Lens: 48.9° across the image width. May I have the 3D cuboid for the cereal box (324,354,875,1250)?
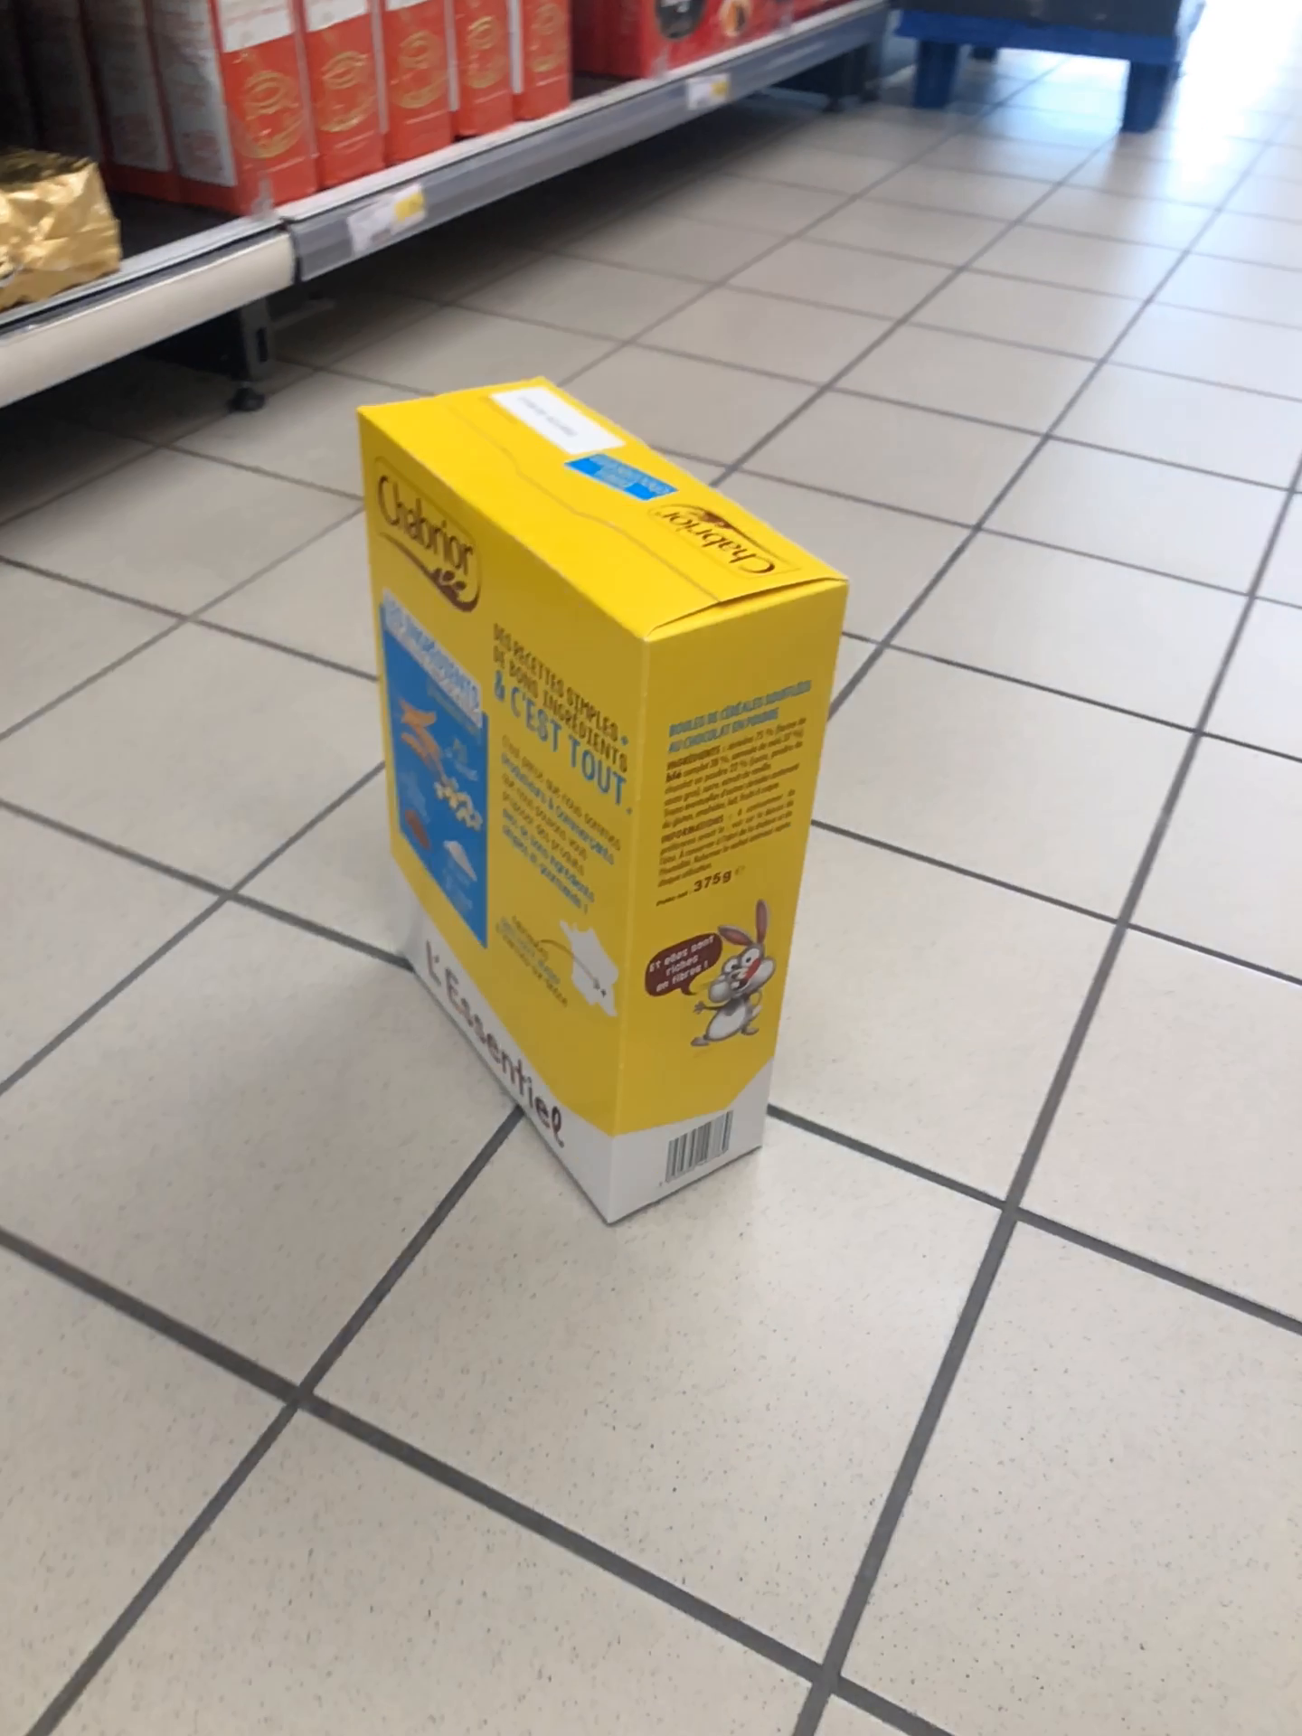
[{"bbox_3d":[-0.030,-0.026,0.554,0.090,0.268,0.200,-21,44,-26],"label":"cereal box"}]
